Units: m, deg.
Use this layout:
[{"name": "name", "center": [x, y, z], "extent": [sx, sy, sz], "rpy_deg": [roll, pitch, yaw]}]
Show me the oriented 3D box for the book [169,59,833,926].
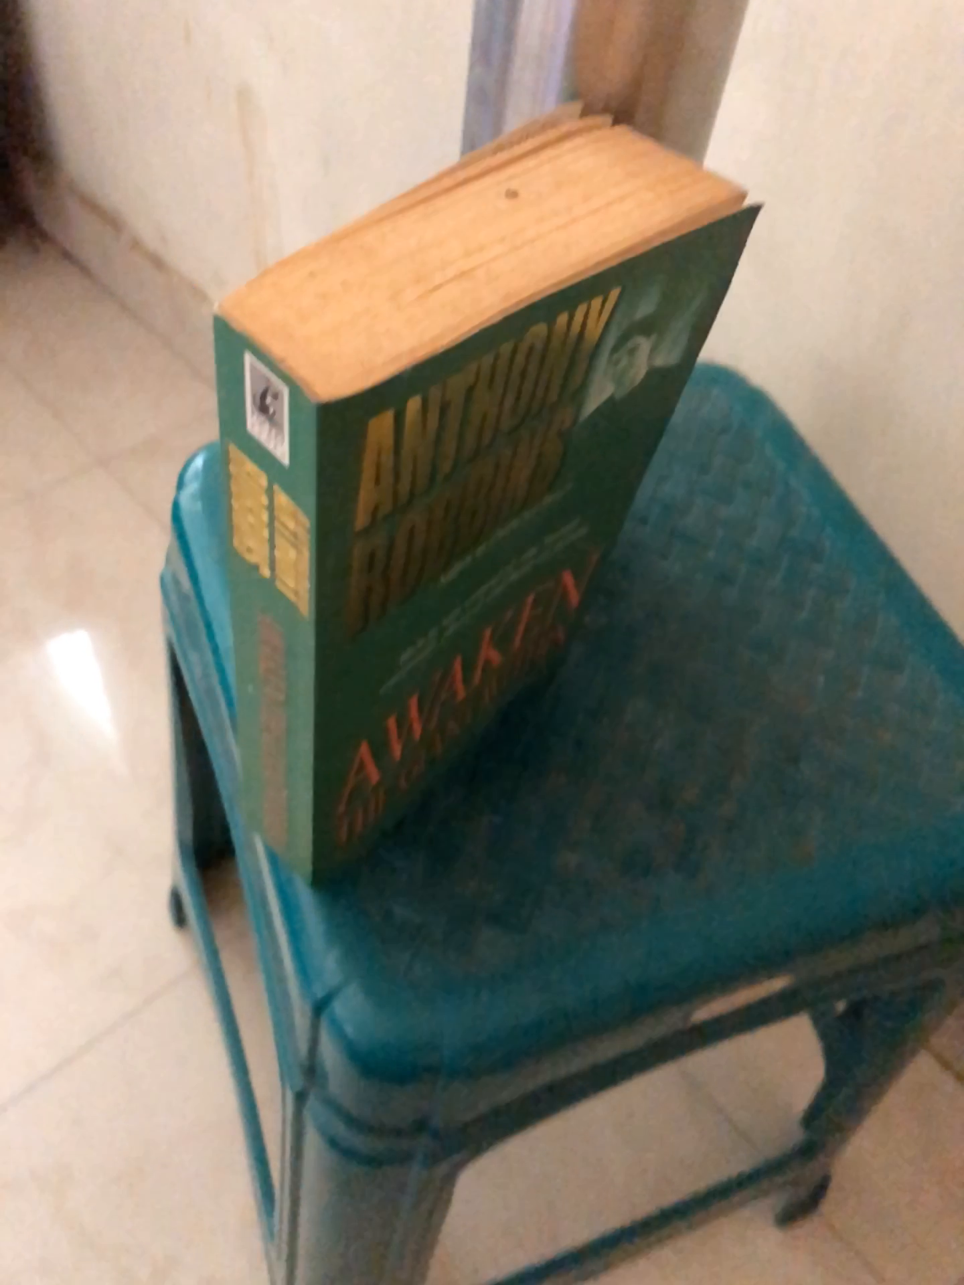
[{"name": "book", "center": [0.000, -0.026, 0.290], "extent": [0.050, 0.199, 0.140], "rpy_deg": [39, 58, 19]}]
